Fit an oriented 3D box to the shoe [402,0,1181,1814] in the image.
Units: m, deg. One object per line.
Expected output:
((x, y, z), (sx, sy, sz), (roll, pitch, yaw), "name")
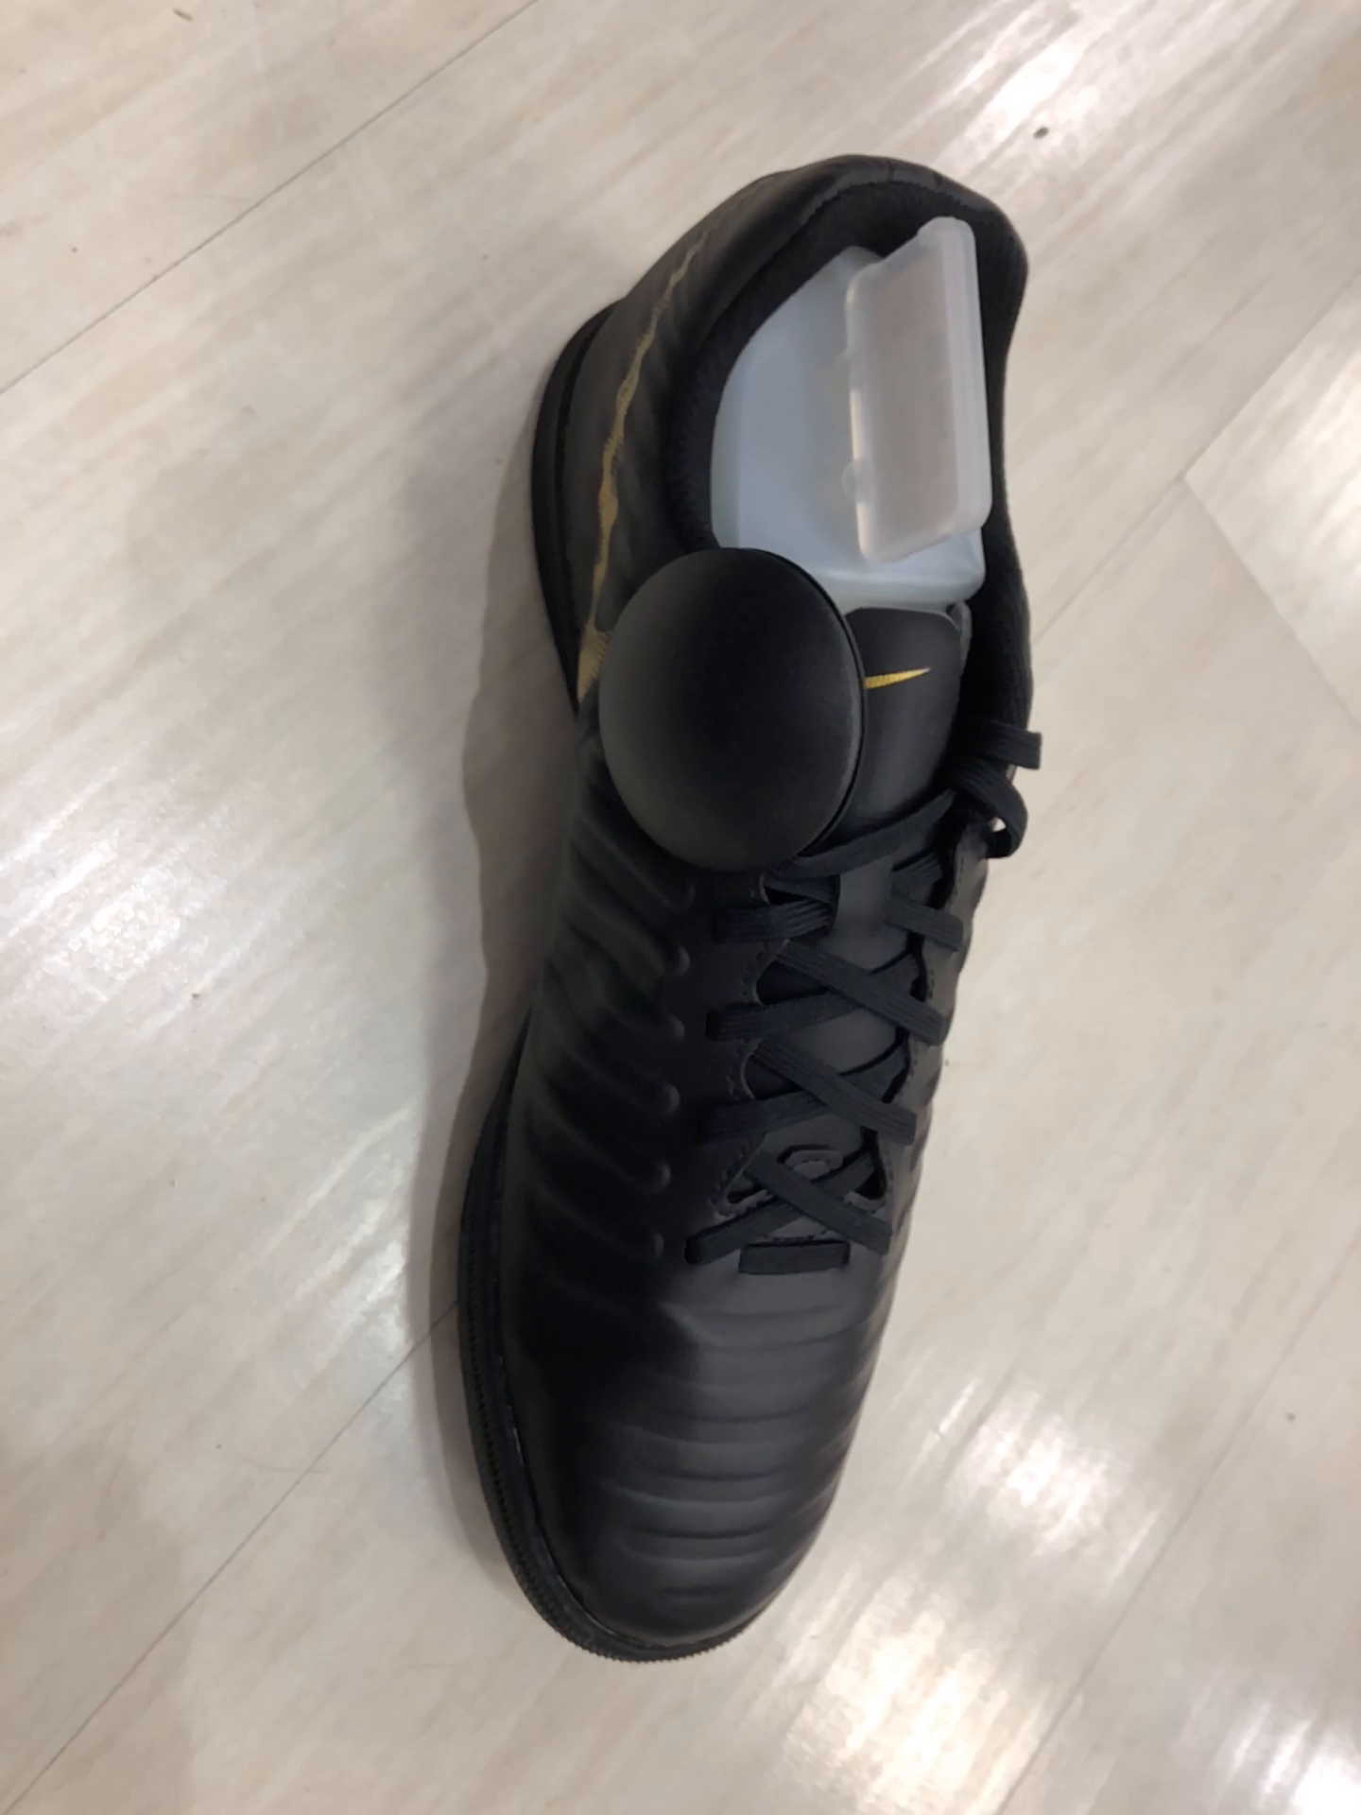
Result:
((0.017, 0.005, 0.288), (0.100, 0.110, 0.290), (4, 85, -24), "shoe")
